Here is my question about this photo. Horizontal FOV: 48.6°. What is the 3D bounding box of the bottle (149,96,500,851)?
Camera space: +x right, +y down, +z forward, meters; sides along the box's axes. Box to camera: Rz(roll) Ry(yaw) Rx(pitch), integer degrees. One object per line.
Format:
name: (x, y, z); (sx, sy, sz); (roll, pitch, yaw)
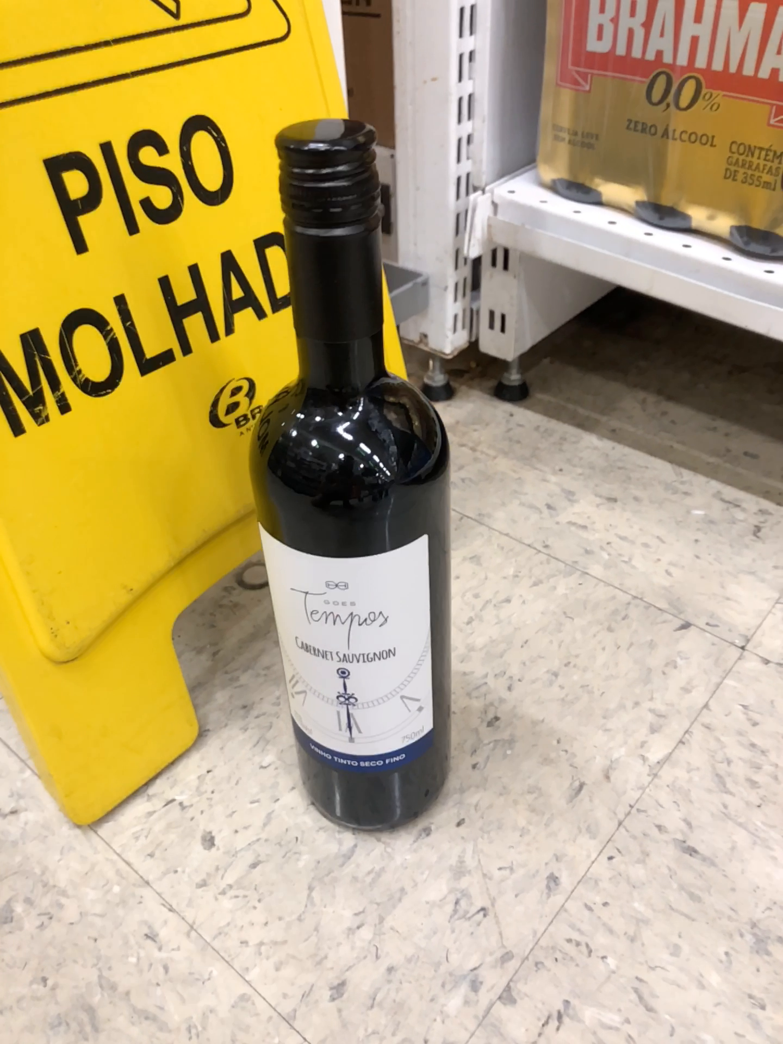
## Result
bottle: (-0.009, 0.006, 0.325); (0.080, 0.288, 0.070); (6, 39, 10)
